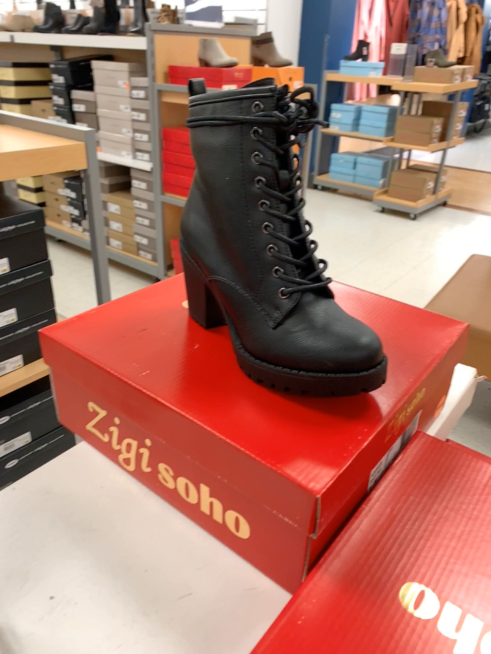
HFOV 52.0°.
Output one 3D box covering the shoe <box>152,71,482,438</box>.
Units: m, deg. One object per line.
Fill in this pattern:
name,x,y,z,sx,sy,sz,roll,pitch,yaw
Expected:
shoe,0.030,-0.070,0.371,0.092,0.203,0.201,-21,36,-36
